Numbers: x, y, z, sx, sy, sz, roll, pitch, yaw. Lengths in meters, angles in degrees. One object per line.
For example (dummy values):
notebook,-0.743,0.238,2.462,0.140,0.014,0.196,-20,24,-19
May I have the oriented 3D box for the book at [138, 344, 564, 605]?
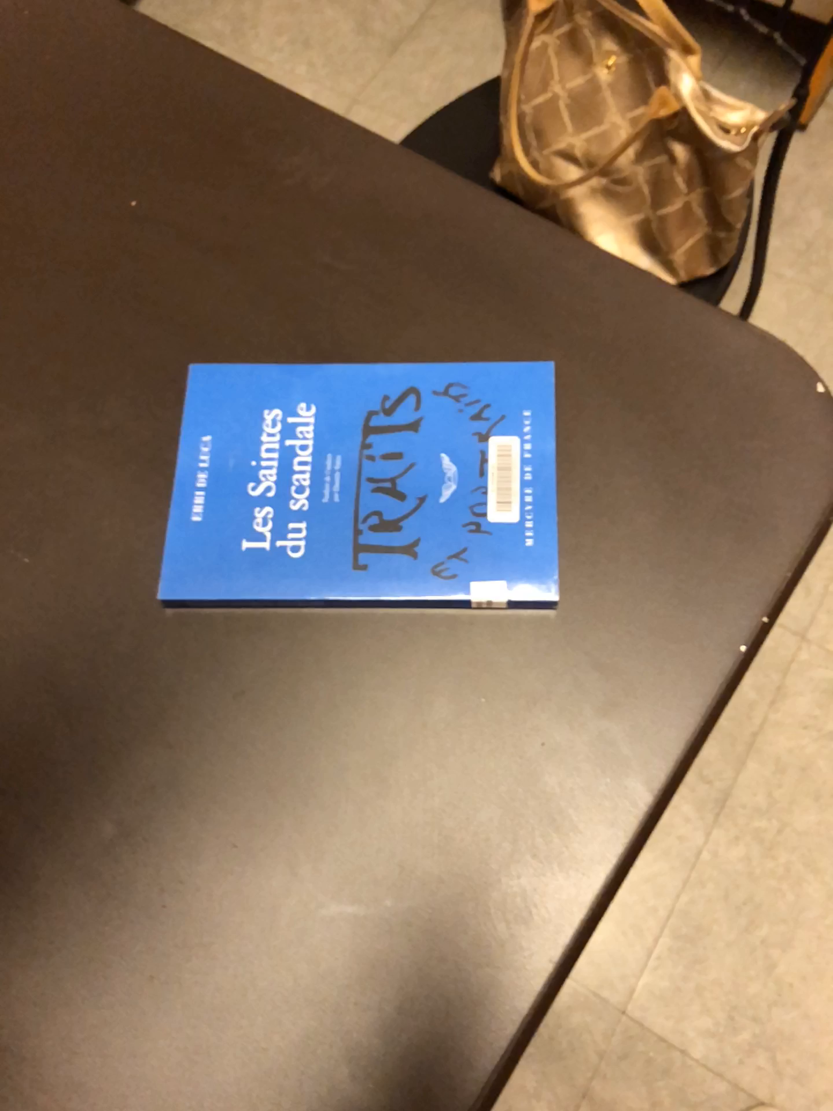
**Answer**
book,-0.032,-0.045,0.495,0.215,0.017,0.144,0,69,4
